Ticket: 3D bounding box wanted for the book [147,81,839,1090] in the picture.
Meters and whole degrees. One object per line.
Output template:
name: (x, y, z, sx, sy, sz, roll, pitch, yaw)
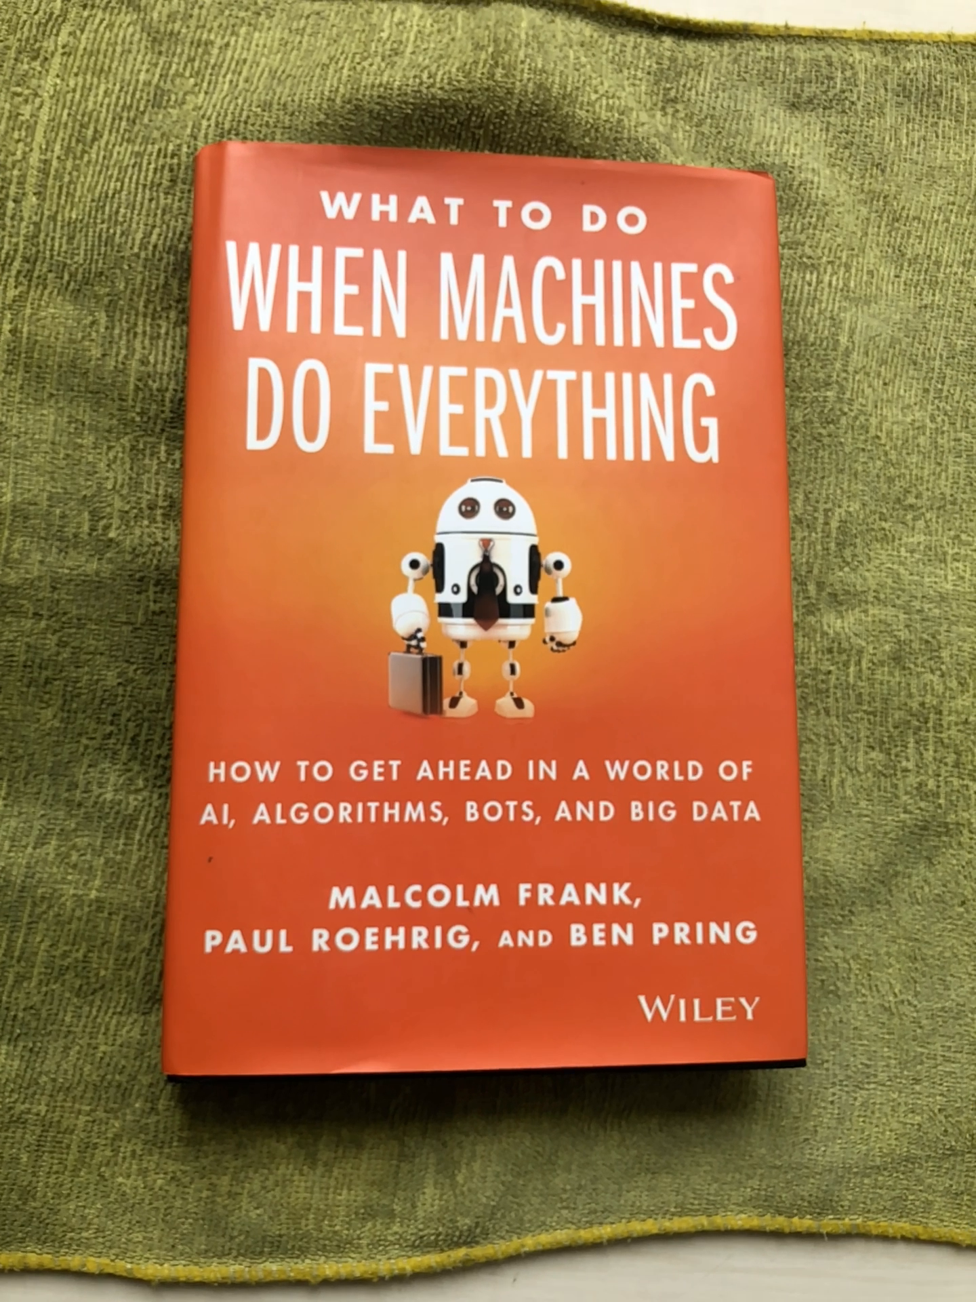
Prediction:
book: (0.002, -0.018, 0.285, 0.160, 0.040, 0.240, 1, 83, -7)
